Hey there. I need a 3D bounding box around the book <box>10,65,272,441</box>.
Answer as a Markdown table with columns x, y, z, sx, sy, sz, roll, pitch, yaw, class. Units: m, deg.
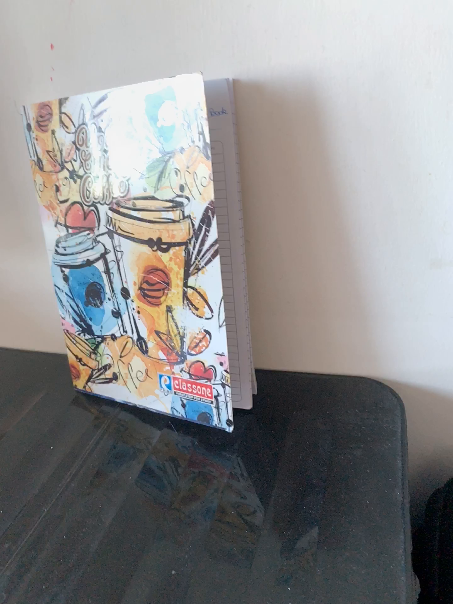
| x | y | z | sx | sy | sz | roll | pitch | yaw | class |
| --- | --- | --- | --- | --- | --- | --- | --- | --- | --- |
| -0.075 | -0.038 | 0.436 | 0.220 | 0.299 | 0.050 | 6 | 21 | 27 | book |
